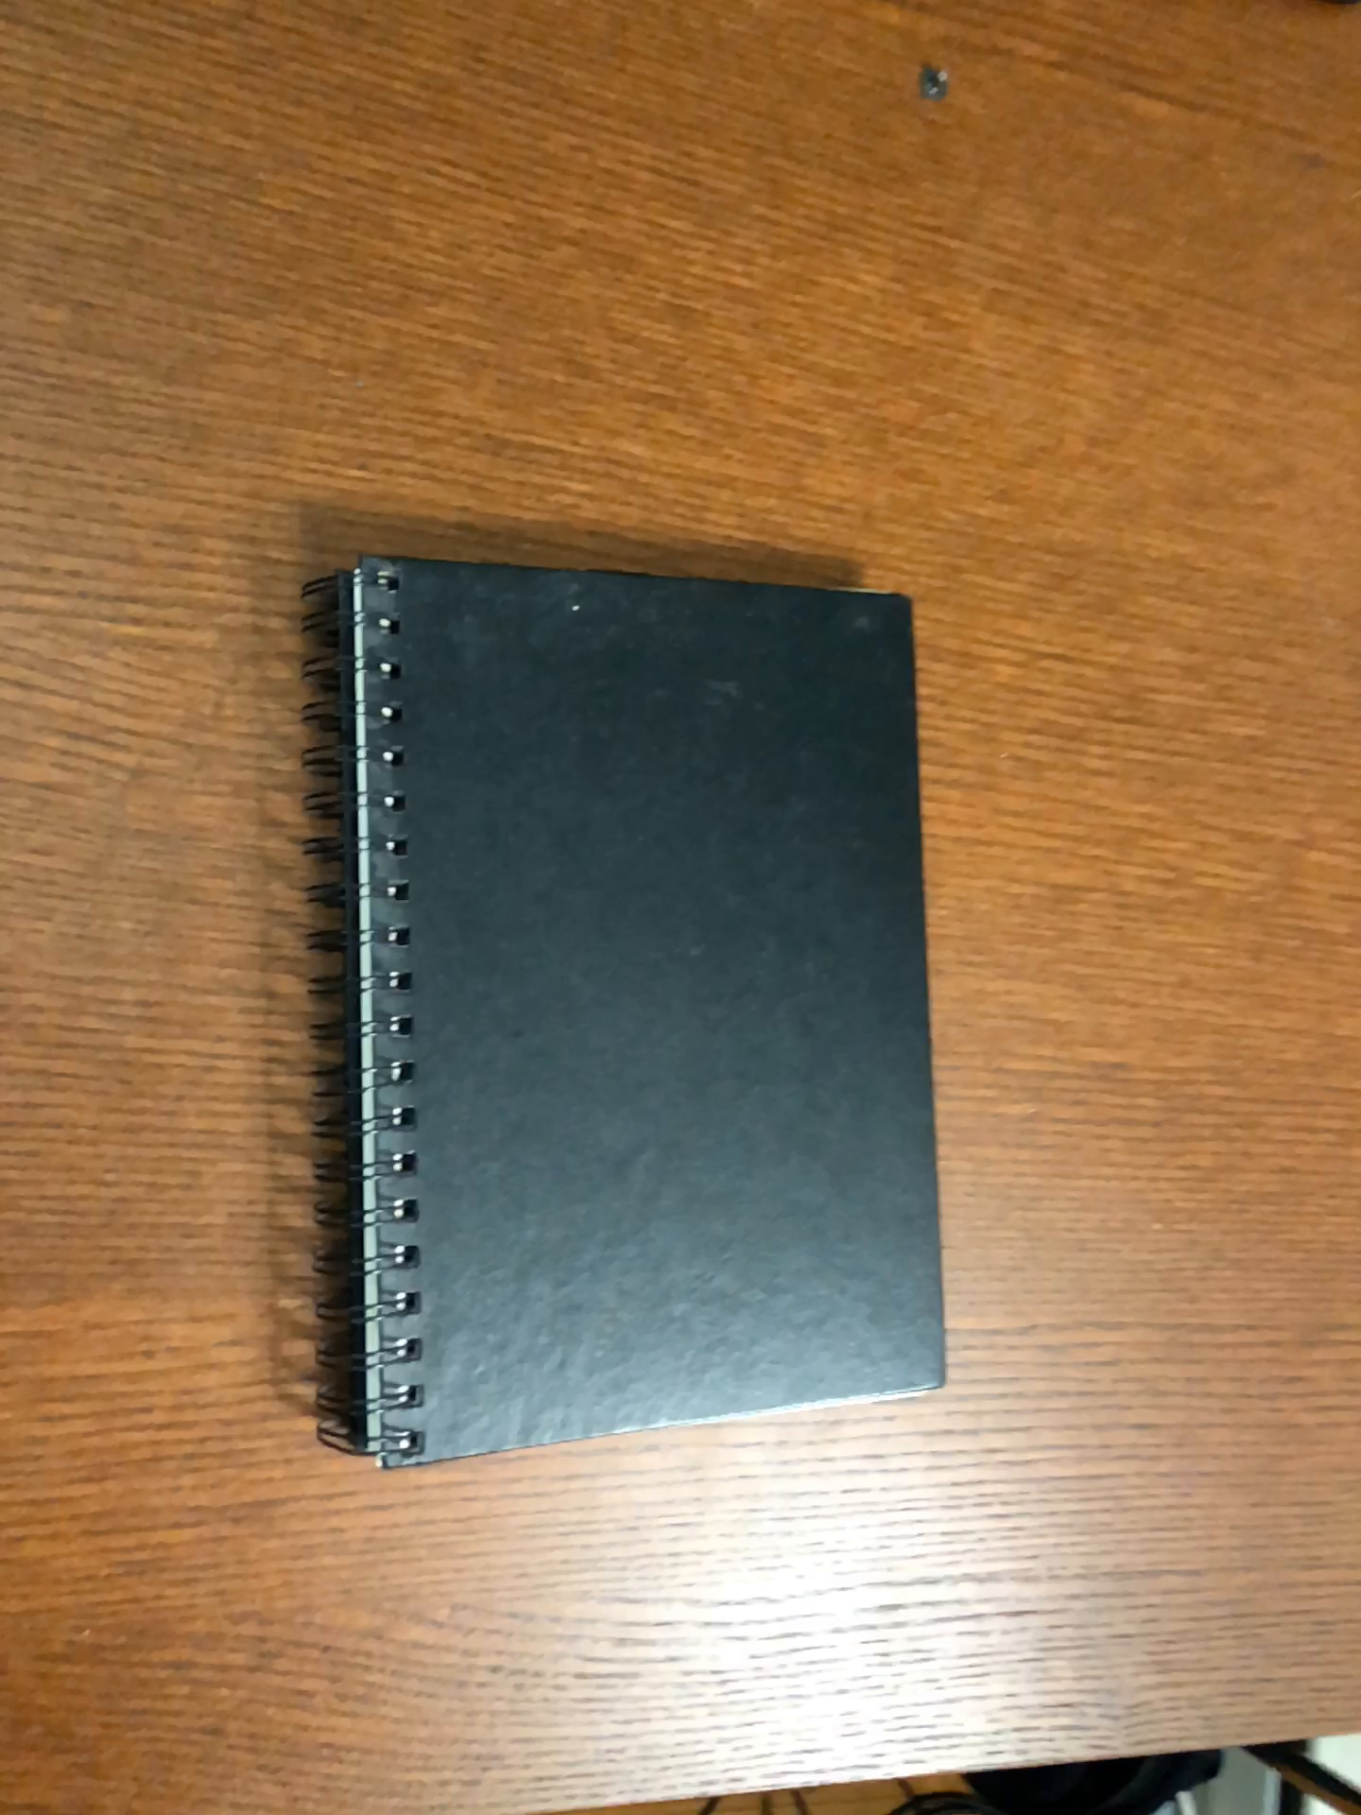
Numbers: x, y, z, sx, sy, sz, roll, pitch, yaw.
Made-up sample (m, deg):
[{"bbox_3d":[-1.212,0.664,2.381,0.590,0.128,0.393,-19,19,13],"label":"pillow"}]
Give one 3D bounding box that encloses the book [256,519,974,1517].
[{"bbox_3d":[-0.016,0.025,0.439,0.200,0.030,0.260,-1,87,-20],"label":"book"}]
